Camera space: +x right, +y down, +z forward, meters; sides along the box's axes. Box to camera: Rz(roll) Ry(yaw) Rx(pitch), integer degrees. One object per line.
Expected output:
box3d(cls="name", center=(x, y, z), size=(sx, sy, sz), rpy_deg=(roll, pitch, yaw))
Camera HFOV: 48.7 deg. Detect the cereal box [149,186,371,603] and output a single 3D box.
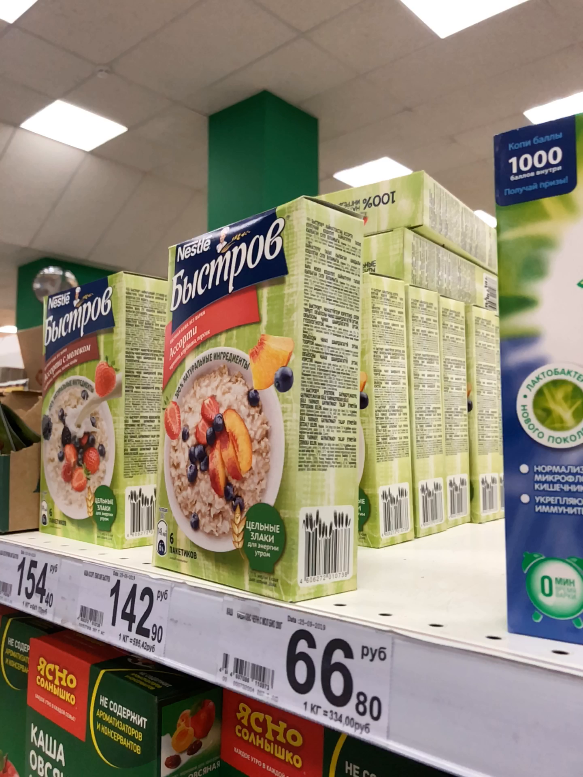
box3d(cls="cereal box", center=(-0.022, 0.005, 0.372), size=(0.050, 0.200, 0.130), rpy_deg=(8, -9, -41))
